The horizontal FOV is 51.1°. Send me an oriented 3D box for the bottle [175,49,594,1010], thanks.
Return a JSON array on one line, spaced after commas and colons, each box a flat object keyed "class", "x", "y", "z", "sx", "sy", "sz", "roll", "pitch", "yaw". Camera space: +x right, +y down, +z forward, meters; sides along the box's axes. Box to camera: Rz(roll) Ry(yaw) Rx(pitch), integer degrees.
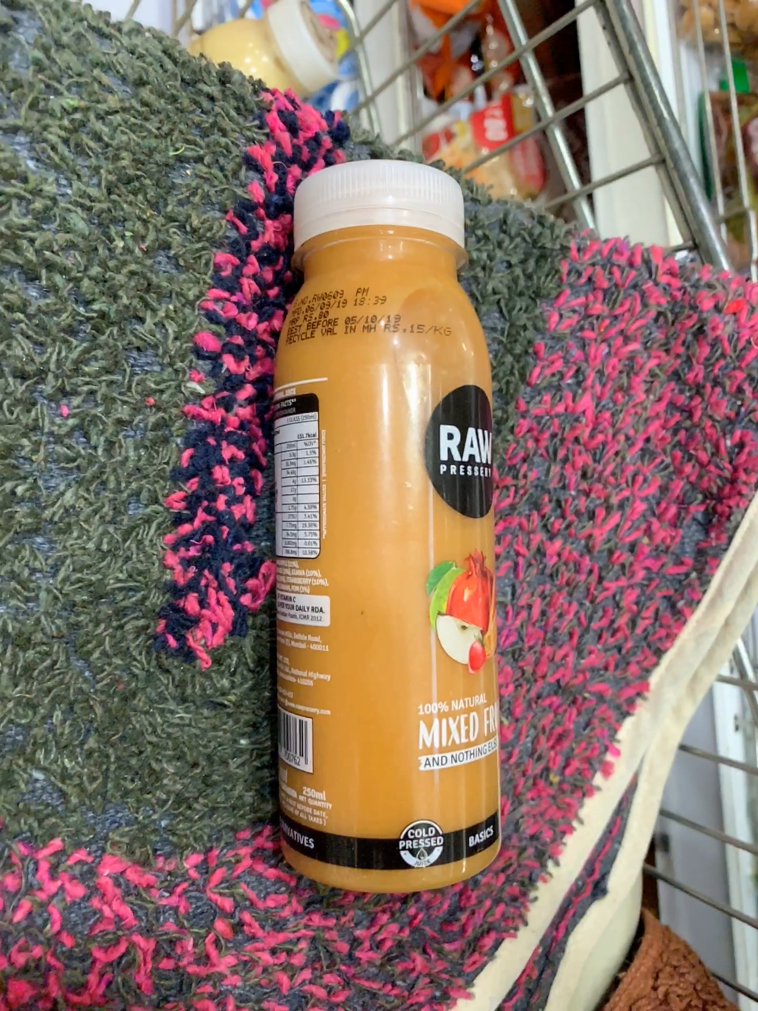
[{"class": "bottle", "x": 0.002, "y": 0.006, "z": 0.162, "sx": 0.060, "sy": 0.060, "sz": 0.150, "roll": 2, "pitch": 86, "yaw": -55}]
